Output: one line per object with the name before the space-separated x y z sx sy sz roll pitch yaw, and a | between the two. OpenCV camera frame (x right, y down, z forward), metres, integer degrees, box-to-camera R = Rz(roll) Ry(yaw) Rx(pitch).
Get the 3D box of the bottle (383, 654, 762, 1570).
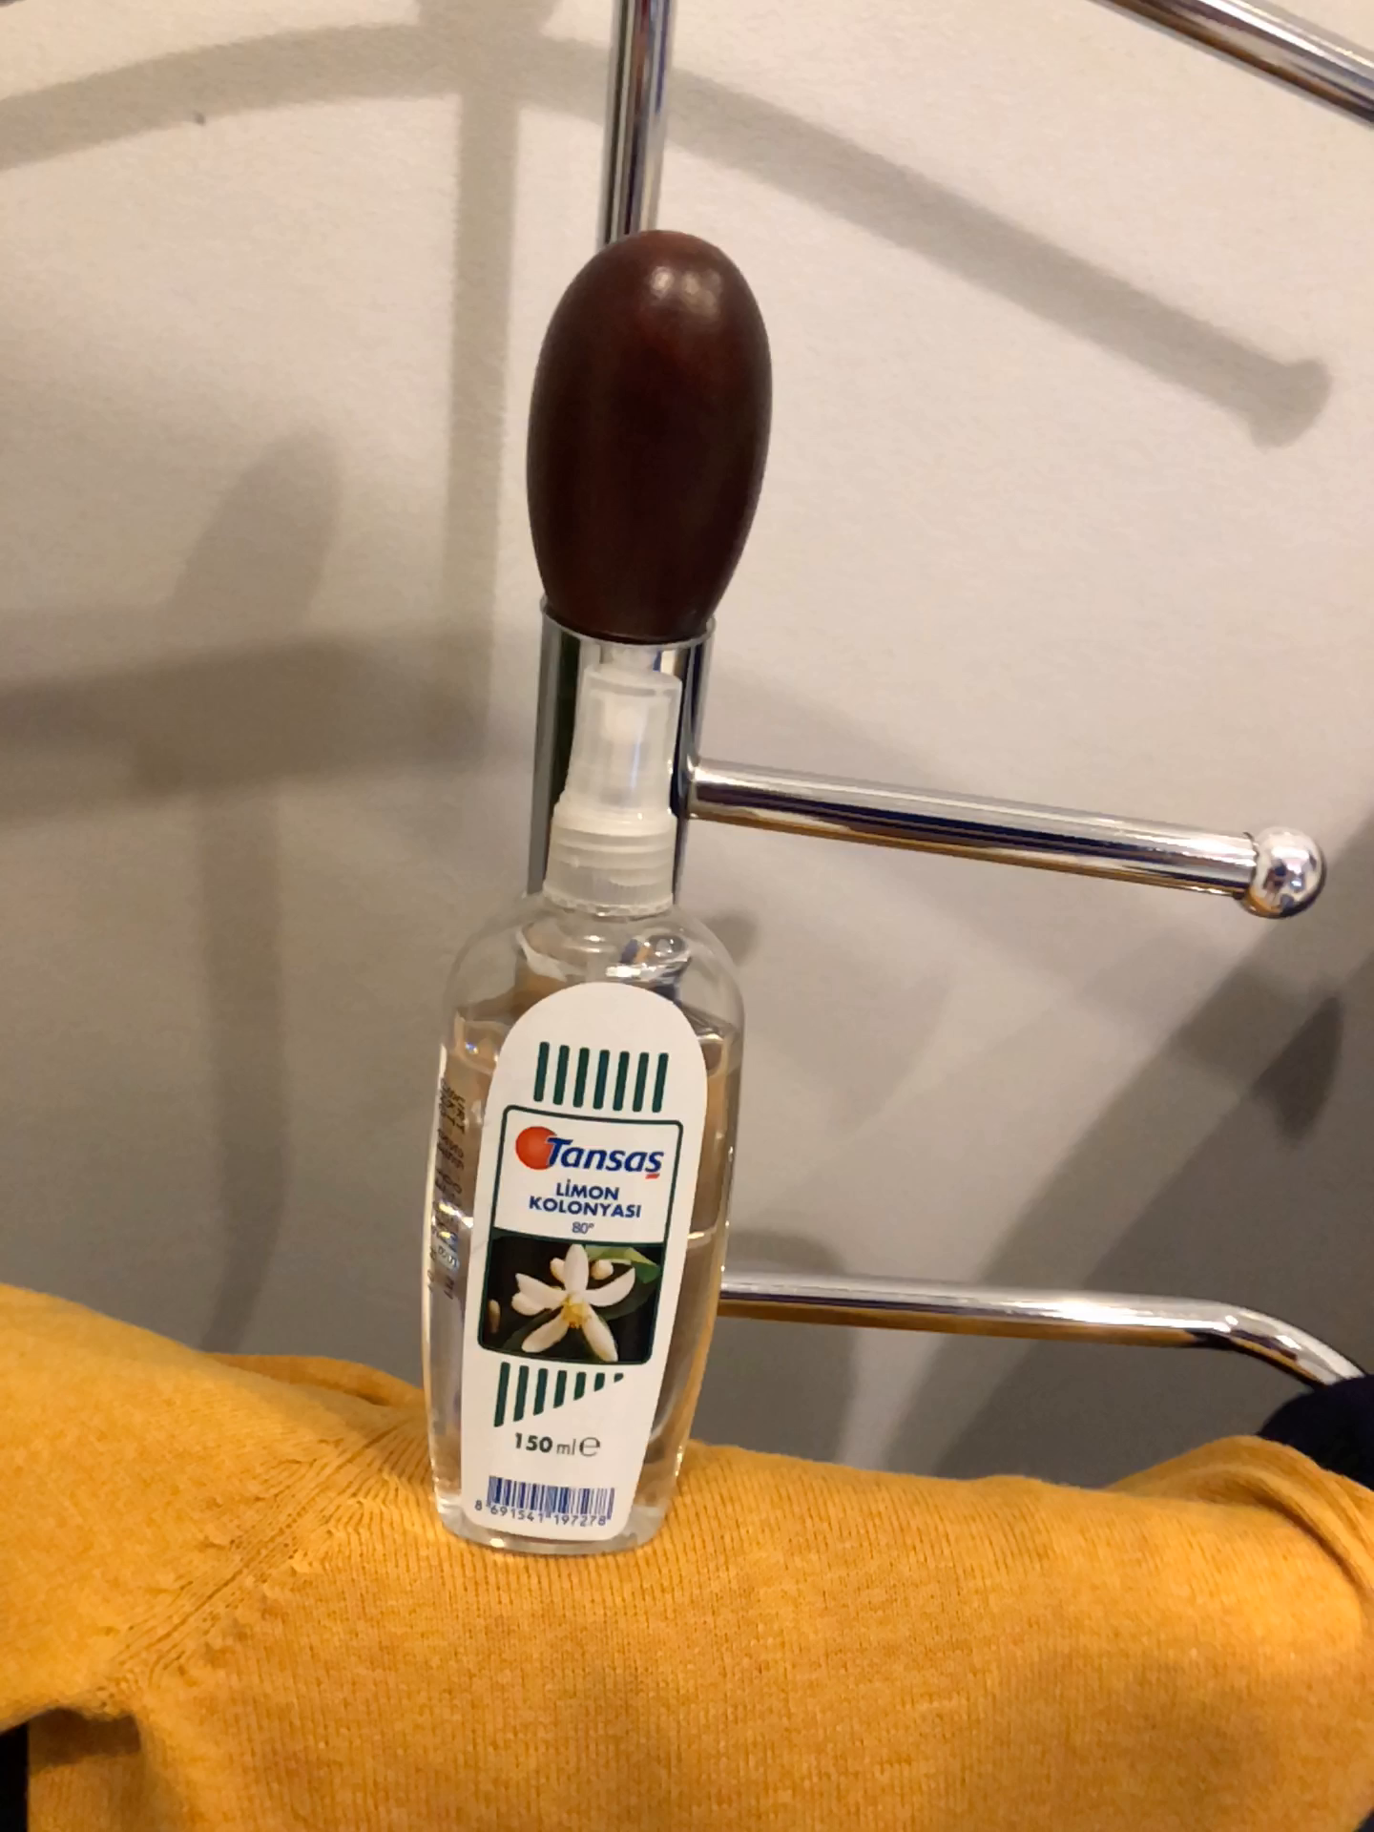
bottle | -0.021 0.036 0.272 0.051 0.158 0.030 6 13 0
